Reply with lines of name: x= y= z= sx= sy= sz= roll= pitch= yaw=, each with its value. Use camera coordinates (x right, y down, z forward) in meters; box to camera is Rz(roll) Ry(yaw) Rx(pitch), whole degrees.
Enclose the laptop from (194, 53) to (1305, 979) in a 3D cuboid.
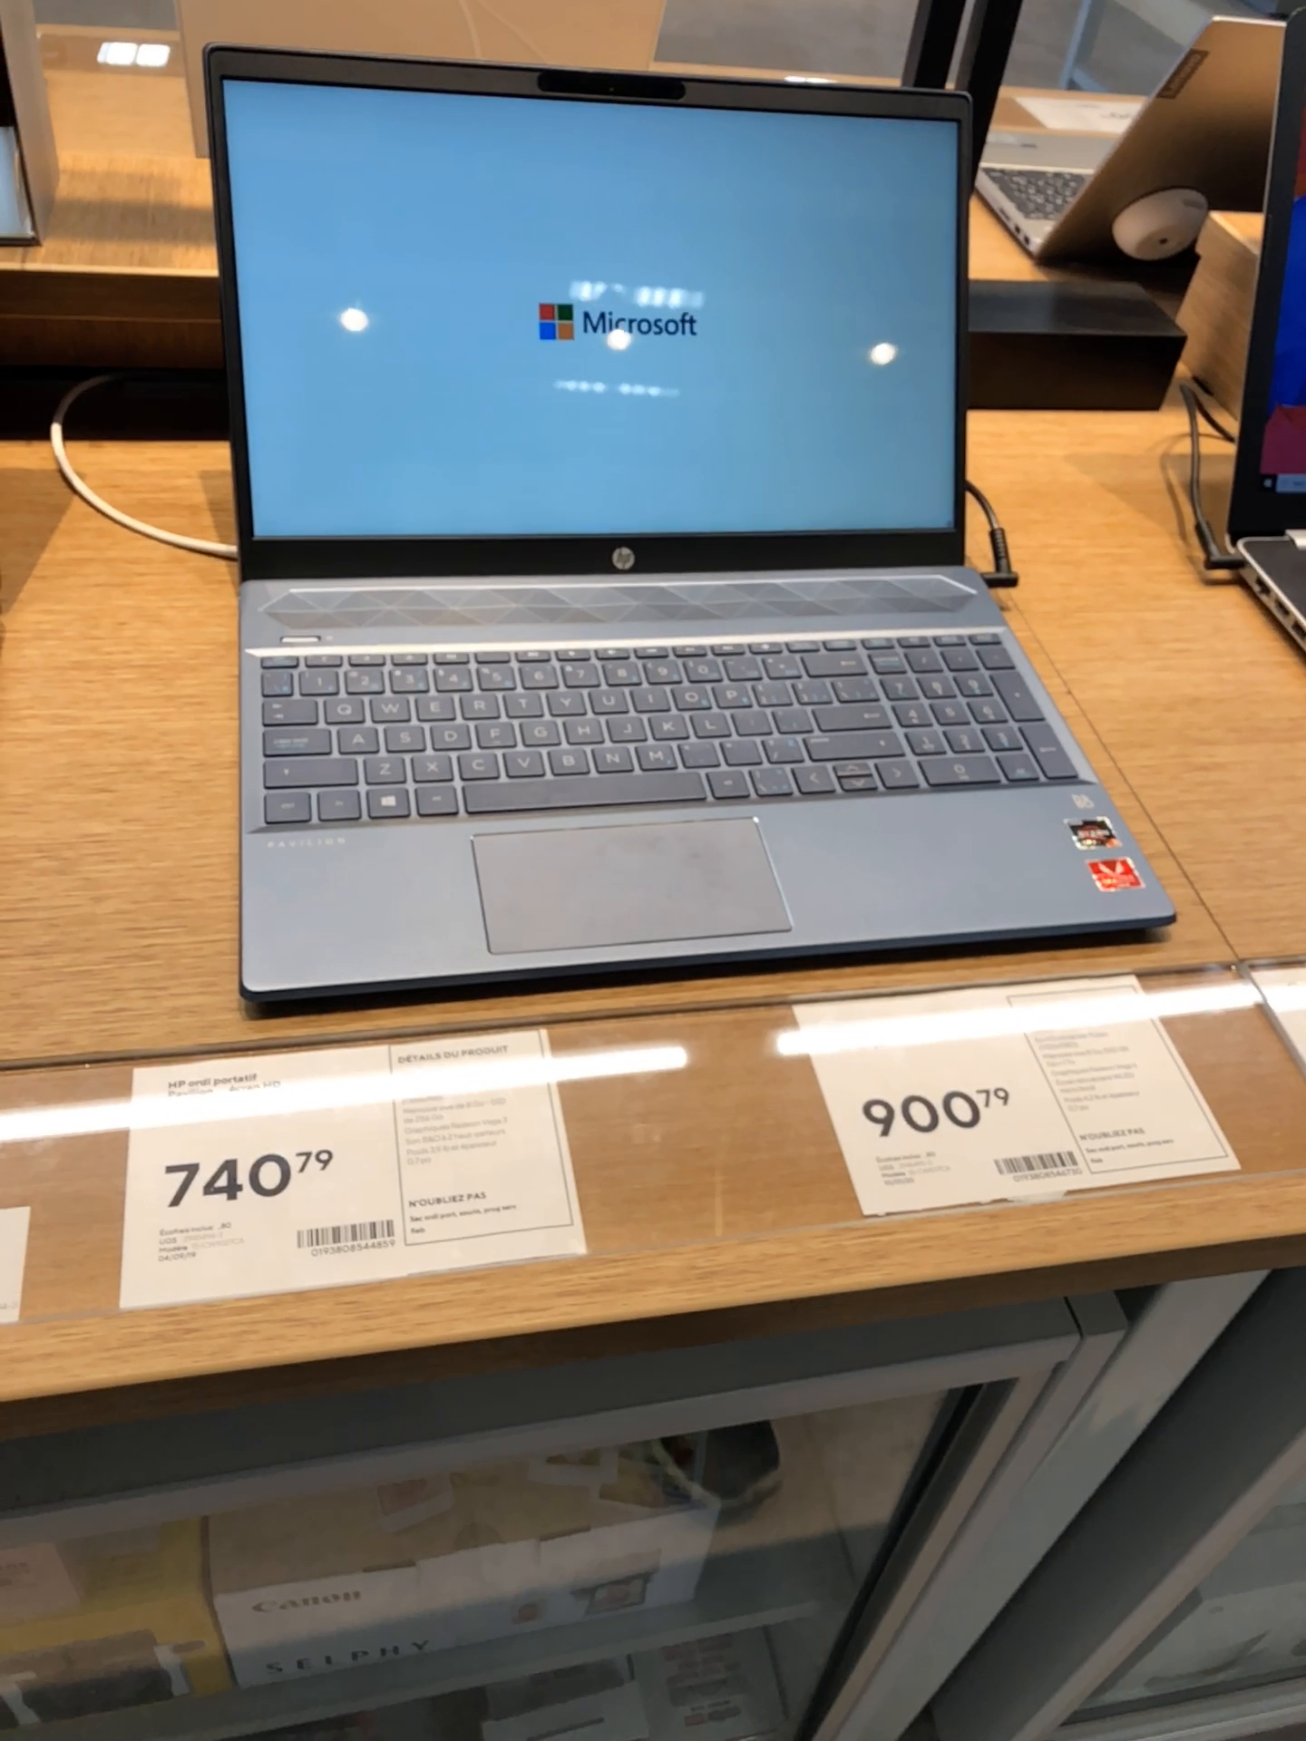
laptop: x=0.002 y=-0.163 z=0.586 sx=0.338 sy=0.185 sz=0.357 roll=-4 pitch=45 yaw=-14
